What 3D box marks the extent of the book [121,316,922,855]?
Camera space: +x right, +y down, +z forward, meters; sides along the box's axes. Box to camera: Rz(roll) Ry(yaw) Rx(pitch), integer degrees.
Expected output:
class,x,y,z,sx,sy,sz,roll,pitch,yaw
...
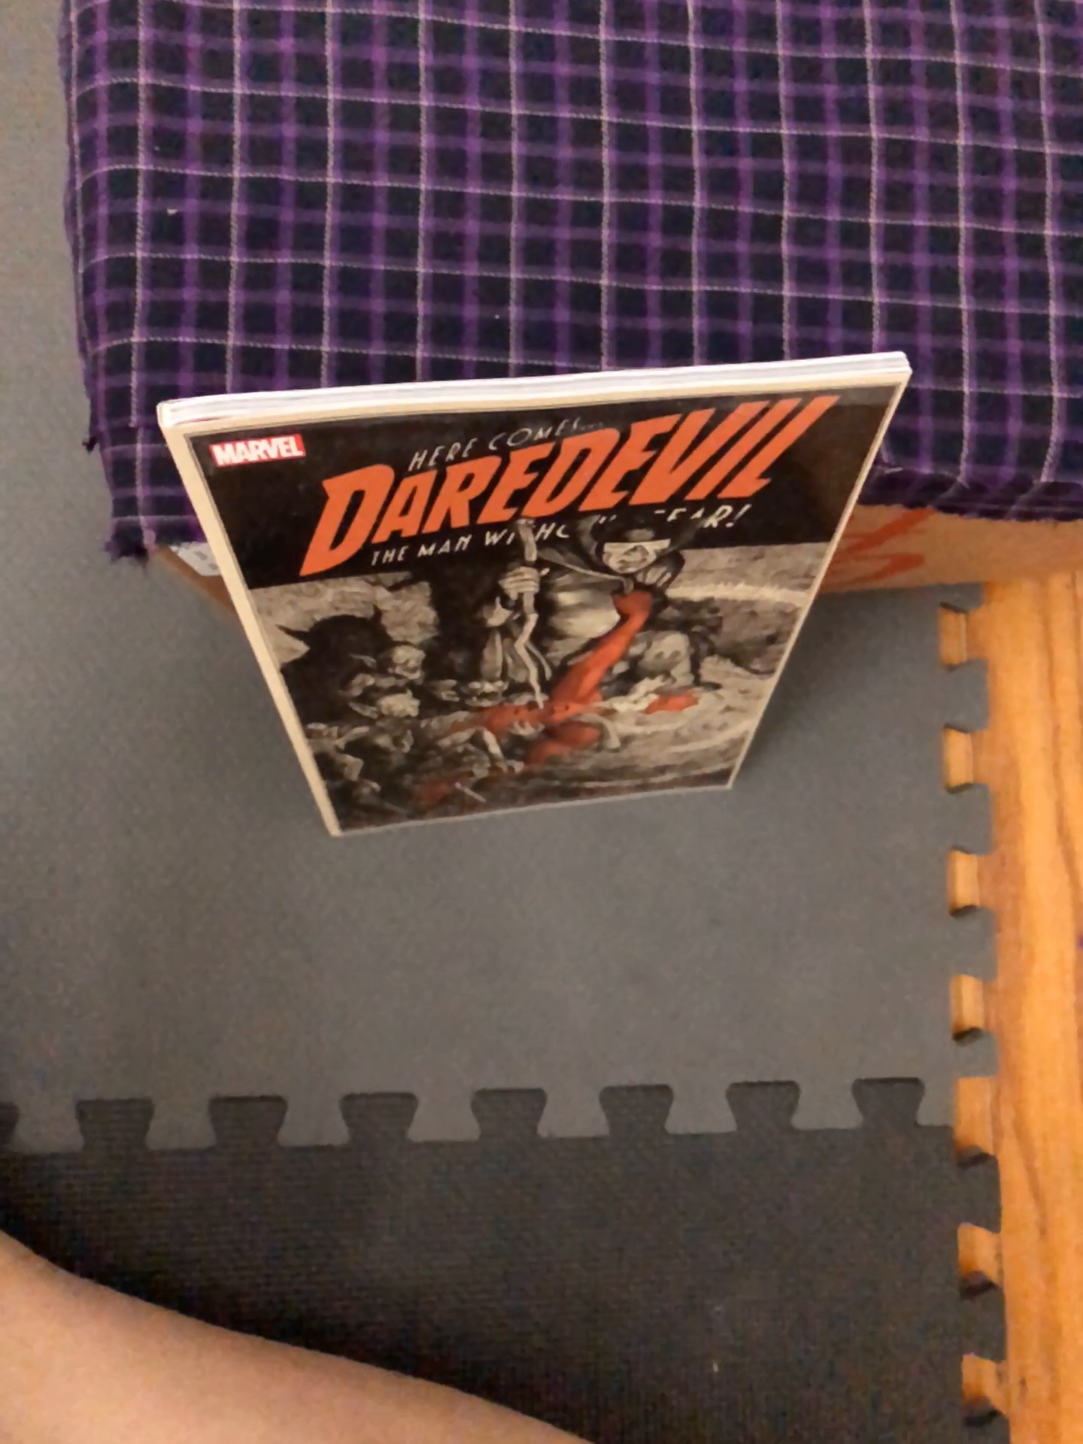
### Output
class,x,y,z,sx,sy,sz,roll,pitch,yaw
book,-0.005,-0.018,0.347,0.160,0.230,0.020,-7,65,-4
